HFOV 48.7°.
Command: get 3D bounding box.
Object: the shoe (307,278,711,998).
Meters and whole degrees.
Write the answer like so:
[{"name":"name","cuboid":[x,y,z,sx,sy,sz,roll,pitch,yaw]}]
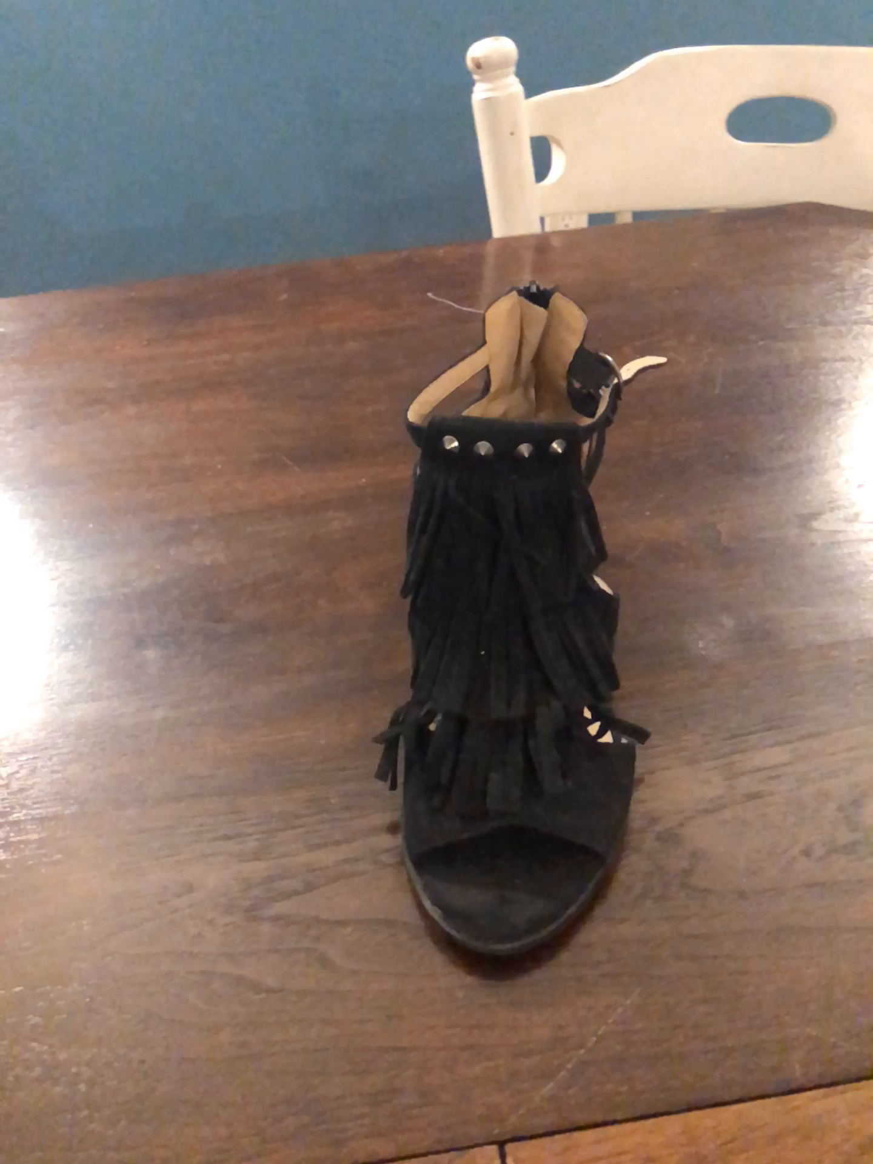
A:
[{"name":"shoe","cuboid":[0.037,0.005,0.377,0.100,0.150,0.241,2,42,8]}]
